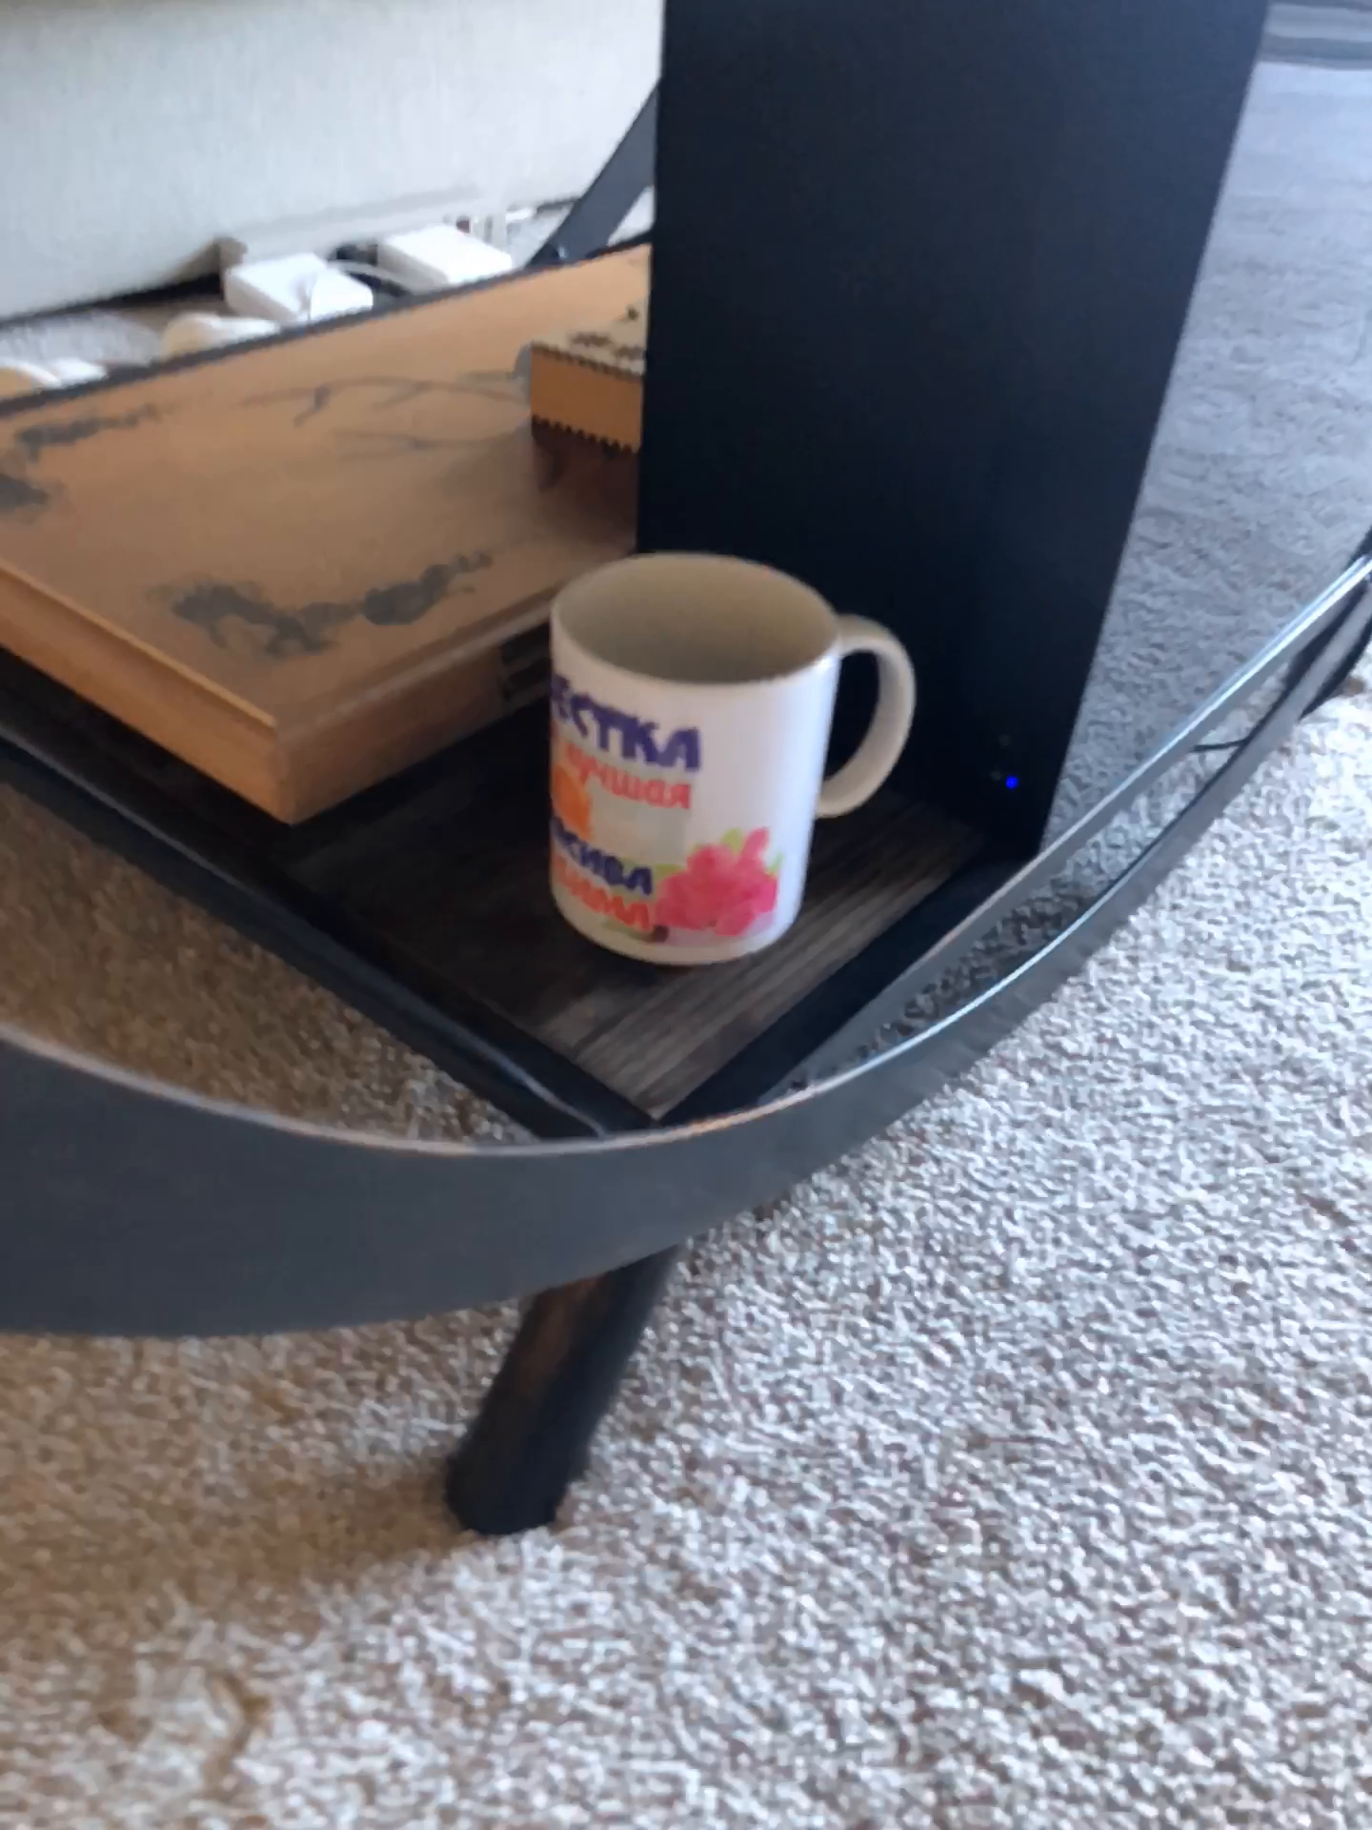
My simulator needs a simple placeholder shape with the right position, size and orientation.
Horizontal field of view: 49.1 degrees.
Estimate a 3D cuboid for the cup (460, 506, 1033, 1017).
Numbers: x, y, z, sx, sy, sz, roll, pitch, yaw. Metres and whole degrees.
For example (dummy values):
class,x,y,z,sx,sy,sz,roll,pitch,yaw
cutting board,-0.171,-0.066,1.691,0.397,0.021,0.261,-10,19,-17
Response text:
class,x,y,z,sx,sy,sz,roll,pitch,yaw
cup,0.013,-0.052,0.464,0.140,0.100,0.090,-15,43,-24
